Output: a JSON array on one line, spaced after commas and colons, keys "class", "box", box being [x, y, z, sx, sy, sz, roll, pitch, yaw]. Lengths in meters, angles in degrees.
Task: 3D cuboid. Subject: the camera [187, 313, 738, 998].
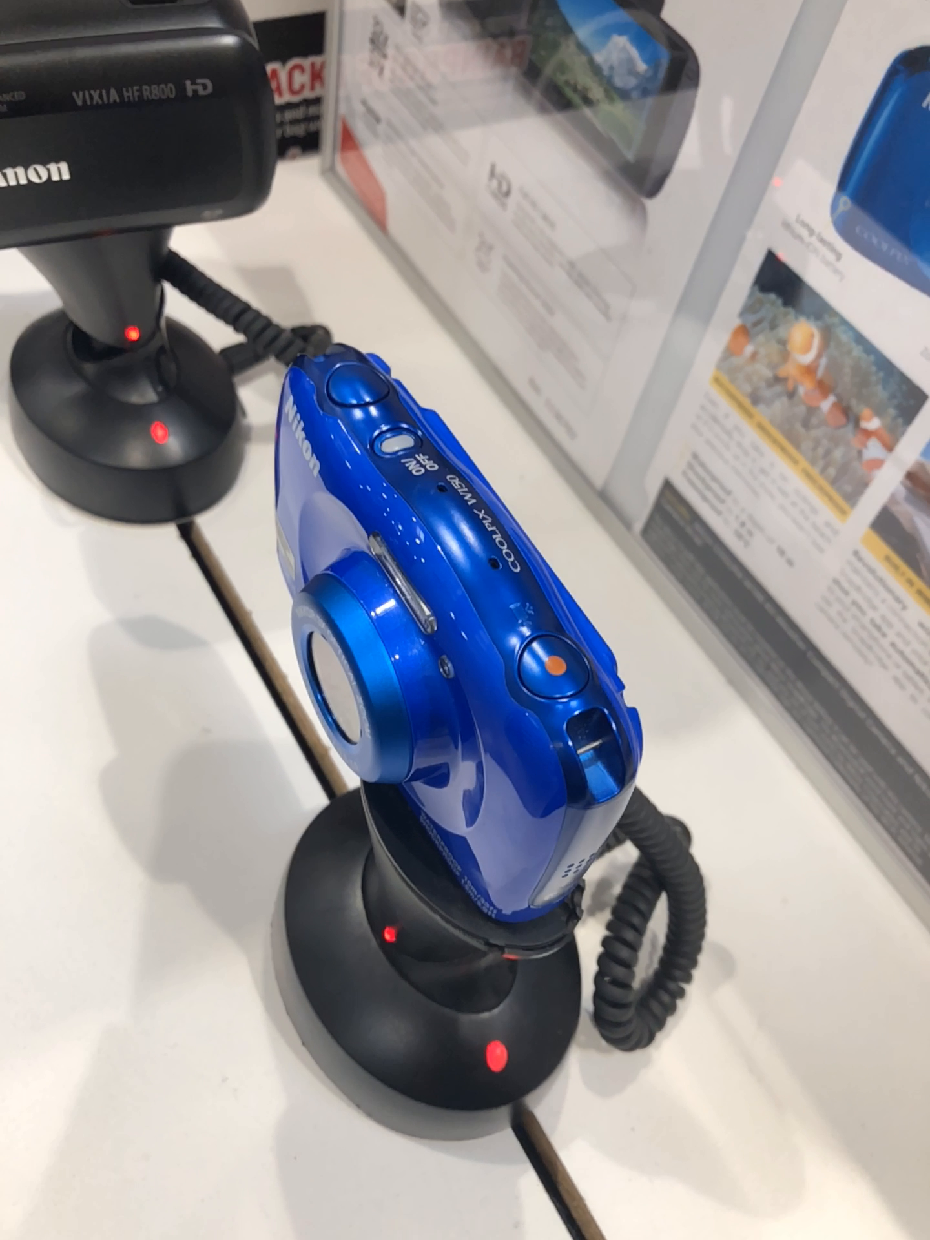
[{"class": "camera", "box": [-0.008, 0.005, 0.187, 0.040, 0.060, 0.100, -23, 62, -25]}]
